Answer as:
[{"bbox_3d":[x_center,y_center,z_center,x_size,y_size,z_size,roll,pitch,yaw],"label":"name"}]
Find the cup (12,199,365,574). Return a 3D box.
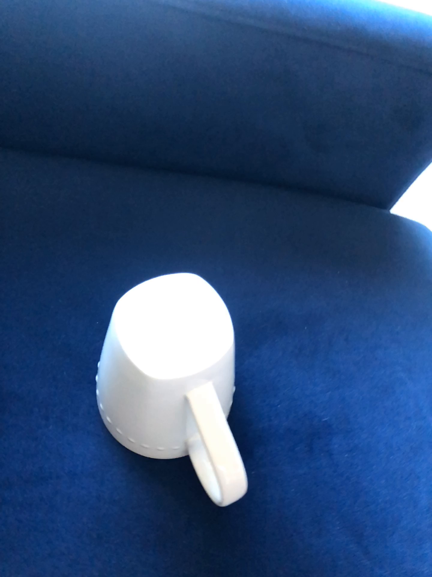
[{"bbox_3d":[-0.024,0.050,0.266,0.110,0.090,0.150,-23,68,-26],"label":"cup"}]
